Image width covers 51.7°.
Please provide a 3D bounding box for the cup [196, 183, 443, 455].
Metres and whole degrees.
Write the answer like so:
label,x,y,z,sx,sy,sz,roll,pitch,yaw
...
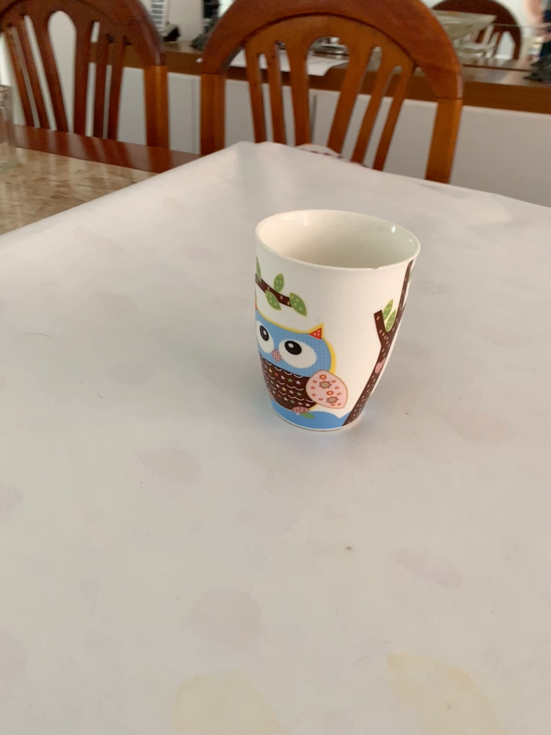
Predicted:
label,x,y,z,sx,sy,sz,roll,pitch,yaw
cup,0.015,-0.034,0.318,0.080,0.099,0.111,-14,37,-26
